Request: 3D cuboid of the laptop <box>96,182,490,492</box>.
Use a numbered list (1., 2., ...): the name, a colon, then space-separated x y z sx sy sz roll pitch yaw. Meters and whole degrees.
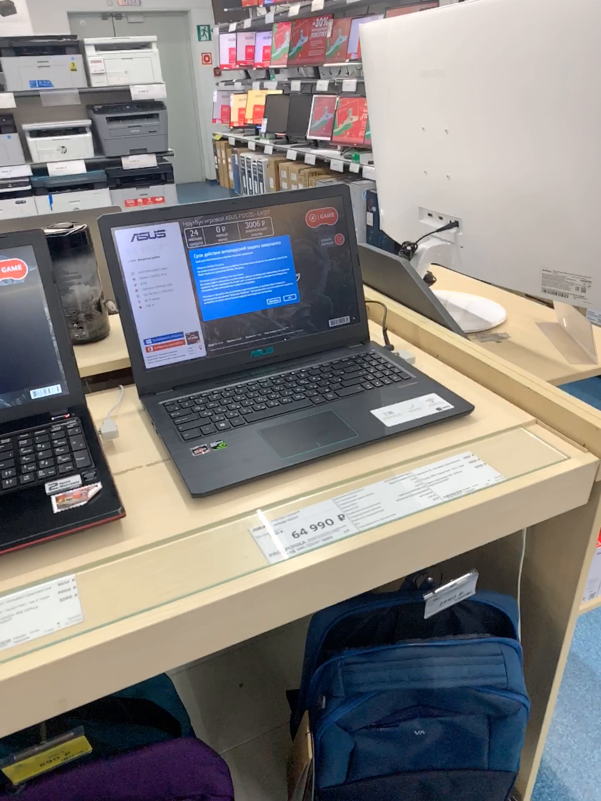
1. laptop: -0.023 -0.115 0.768 0.358 0.222 0.319 -15 31 -21
